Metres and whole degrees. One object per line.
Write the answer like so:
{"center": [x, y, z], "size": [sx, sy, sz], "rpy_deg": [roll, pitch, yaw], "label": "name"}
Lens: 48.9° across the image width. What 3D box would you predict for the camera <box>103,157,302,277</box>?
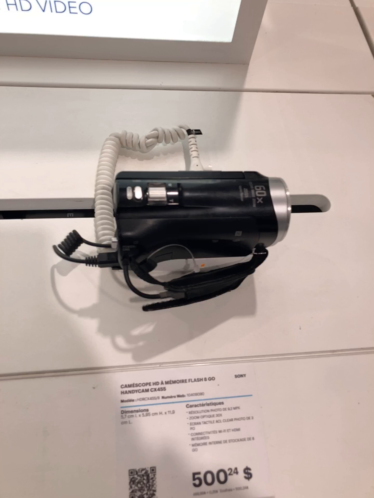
{"center": [0.006, -0.022, 0.286], "size": [0.121, 0.058, 0.057], "rpy_deg": [-3, 64, -9], "label": "camera"}
